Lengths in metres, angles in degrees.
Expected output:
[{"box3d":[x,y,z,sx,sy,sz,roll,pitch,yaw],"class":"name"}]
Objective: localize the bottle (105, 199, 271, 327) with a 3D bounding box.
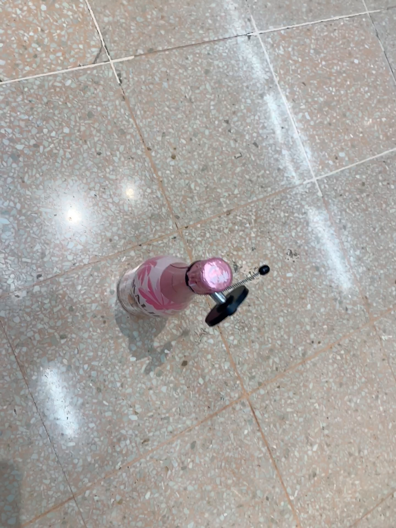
[{"box3d":[-0.038,0.015,0.500,0.080,0.309,0.080,3,83,-20],"class":"bottle"}]
